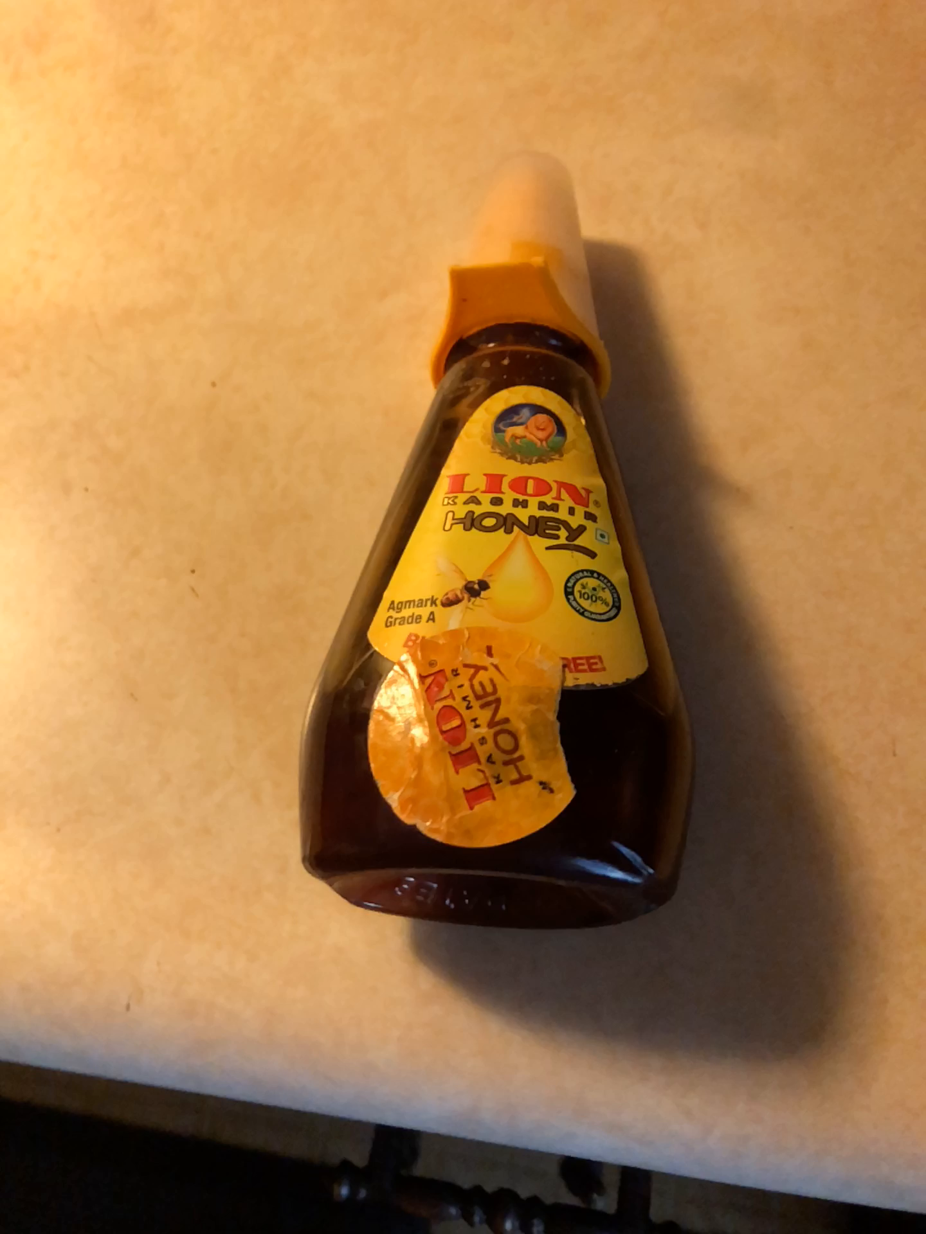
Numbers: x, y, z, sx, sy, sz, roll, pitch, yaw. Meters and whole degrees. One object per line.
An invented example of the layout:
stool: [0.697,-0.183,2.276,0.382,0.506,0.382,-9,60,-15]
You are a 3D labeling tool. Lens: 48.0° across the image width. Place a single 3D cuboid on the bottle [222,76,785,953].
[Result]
bottle: [0.013,-0.031,0.230,0.090,0.050,0.190,3,64,2]
